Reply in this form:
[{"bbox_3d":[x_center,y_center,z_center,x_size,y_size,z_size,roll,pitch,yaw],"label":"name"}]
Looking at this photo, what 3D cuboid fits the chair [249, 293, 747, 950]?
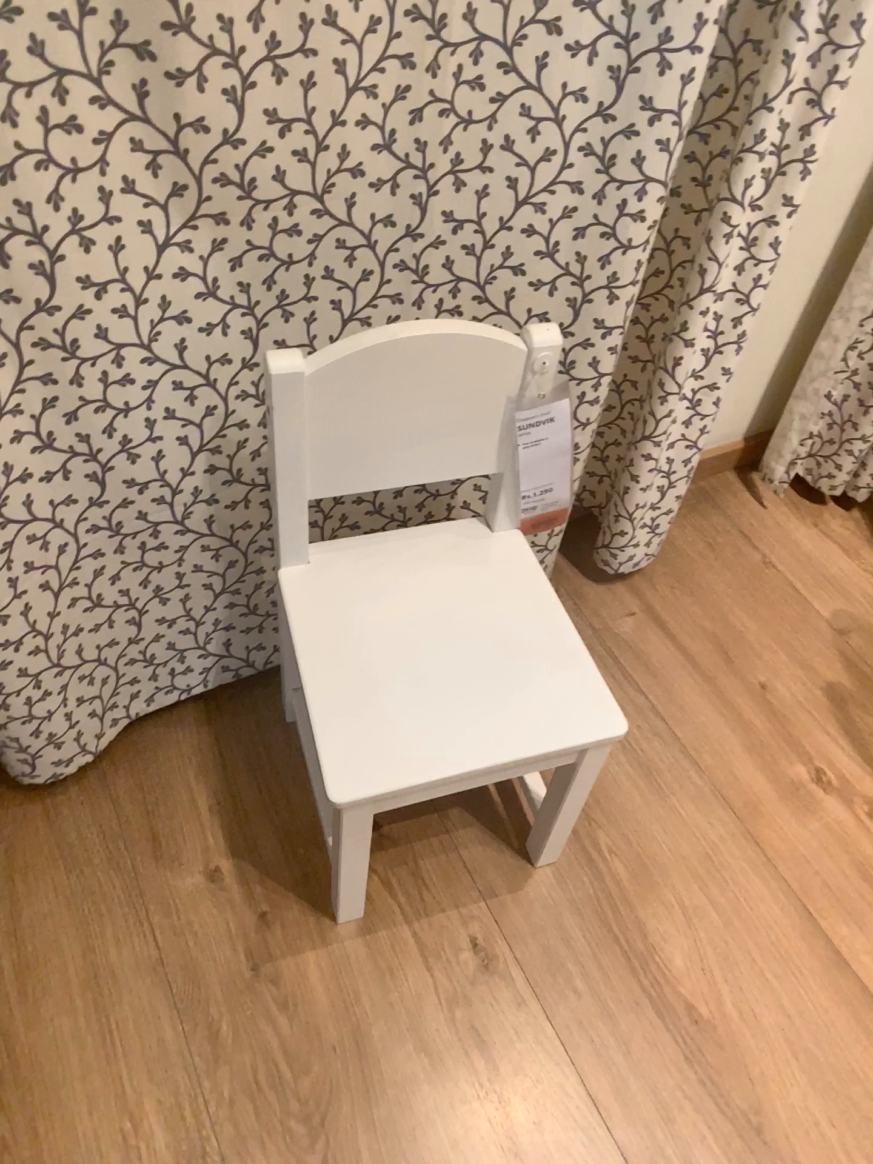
[{"bbox_3d":[0.003,0.070,0.846,0.270,0.568,0.291,-11,51,-16],"label":"chair"}]
